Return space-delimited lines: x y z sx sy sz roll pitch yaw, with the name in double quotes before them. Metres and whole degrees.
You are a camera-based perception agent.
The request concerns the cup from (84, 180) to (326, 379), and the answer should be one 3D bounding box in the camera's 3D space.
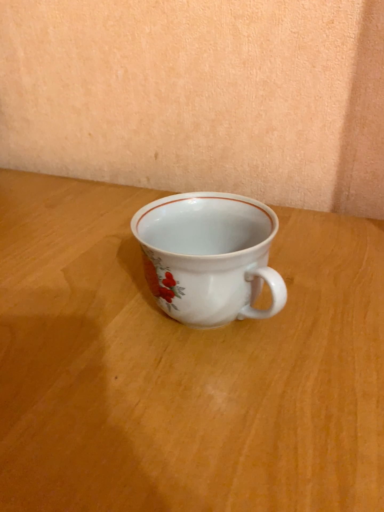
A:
"cup" 0.007 0.003 0.239 0.109 0.056 0.083 20 37 33
